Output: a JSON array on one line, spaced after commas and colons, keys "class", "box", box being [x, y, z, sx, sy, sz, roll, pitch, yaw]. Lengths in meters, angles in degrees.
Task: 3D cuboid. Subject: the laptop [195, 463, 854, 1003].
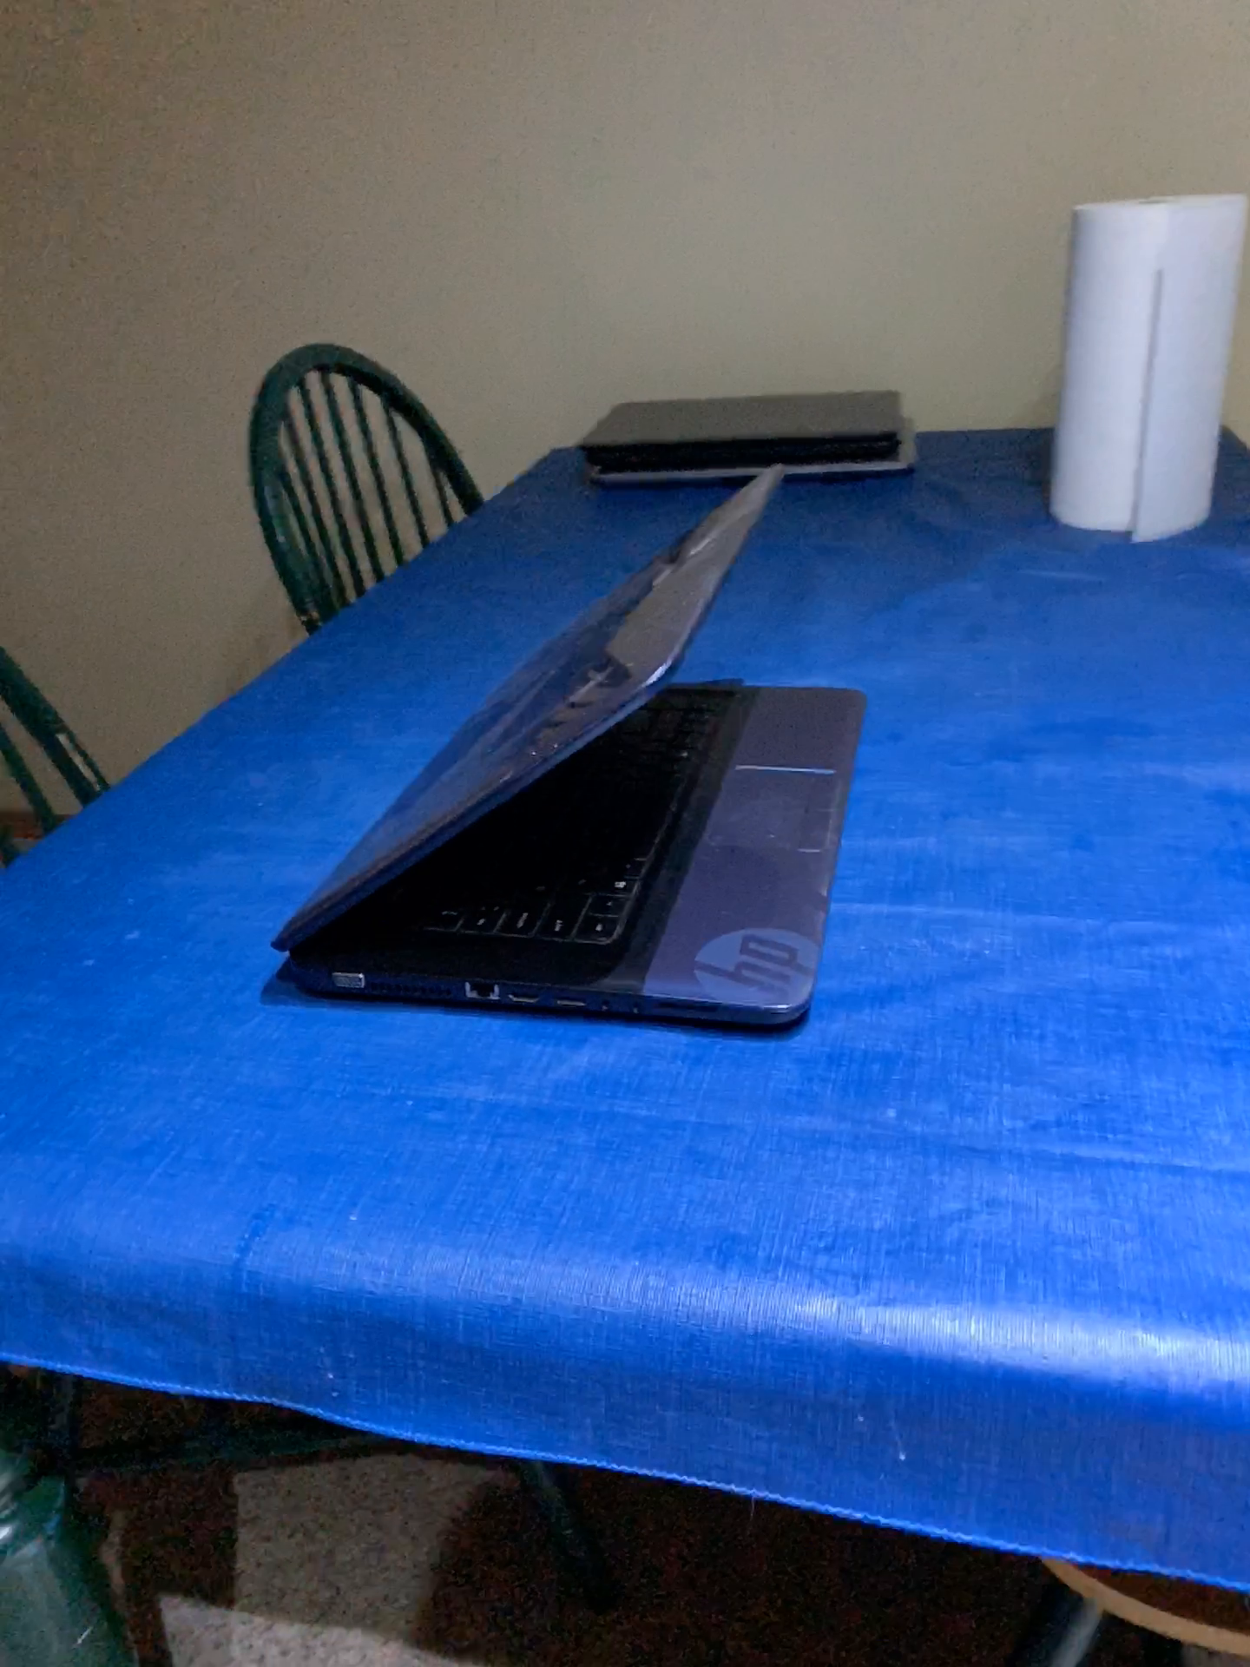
[{"class": "laptop", "box": [-0.012, -0.085, 0.685, 0.239, 0.141, 0.365, 3, 28, 13]}]
